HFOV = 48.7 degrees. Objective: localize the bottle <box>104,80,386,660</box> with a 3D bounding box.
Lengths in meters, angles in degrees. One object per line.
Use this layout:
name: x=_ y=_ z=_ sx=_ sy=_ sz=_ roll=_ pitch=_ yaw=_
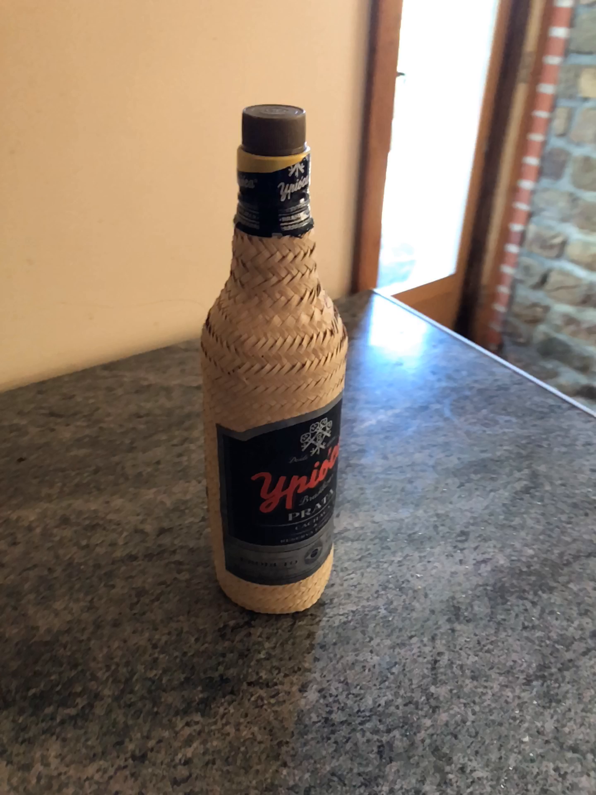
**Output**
bottle: x=-0.028 y=-0.005 z=0.352 sx=0.090 sy=0.288 sz=0.080 roll=-18 pitch=37 yaw=-31
